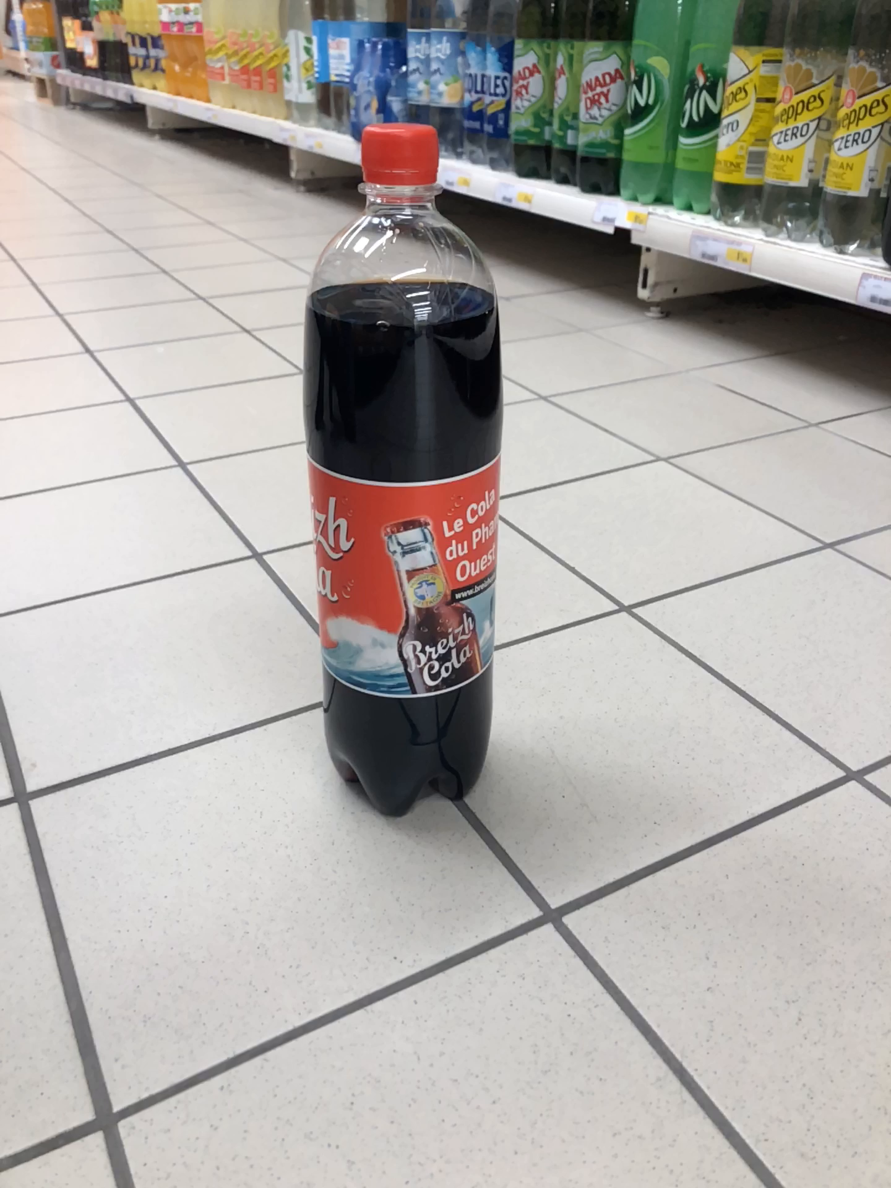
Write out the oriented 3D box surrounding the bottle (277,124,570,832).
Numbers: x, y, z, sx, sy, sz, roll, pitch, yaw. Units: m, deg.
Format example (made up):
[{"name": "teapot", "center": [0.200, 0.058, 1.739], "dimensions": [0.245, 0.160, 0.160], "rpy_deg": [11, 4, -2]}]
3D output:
[{"name": "bottle", "center": [-0.009, -0.042, 0.453], "dimensions": [0.100, 0.308, 0.101], "rpy_deg": [1, 29, 0]}]
